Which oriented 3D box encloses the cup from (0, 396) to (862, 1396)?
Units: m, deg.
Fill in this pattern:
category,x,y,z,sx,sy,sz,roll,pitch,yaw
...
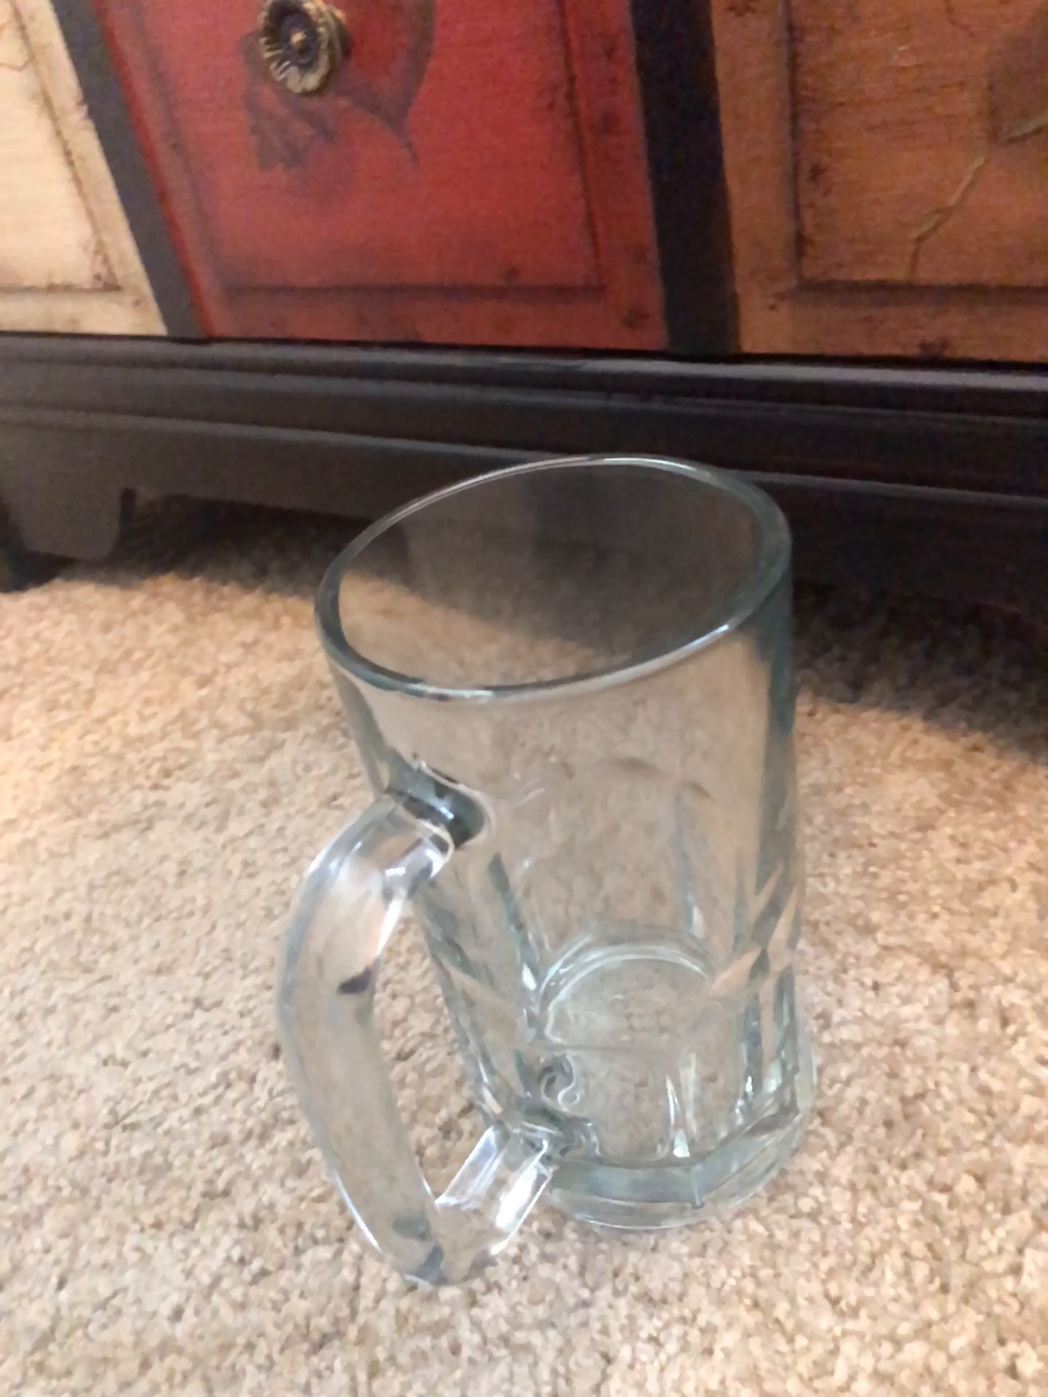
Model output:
category,x,y,z,sx,sy,sz,roll,pitch,yaw
cup,-0.002,0.040,0.243,0.096,0.155,0.134,14,40,31
